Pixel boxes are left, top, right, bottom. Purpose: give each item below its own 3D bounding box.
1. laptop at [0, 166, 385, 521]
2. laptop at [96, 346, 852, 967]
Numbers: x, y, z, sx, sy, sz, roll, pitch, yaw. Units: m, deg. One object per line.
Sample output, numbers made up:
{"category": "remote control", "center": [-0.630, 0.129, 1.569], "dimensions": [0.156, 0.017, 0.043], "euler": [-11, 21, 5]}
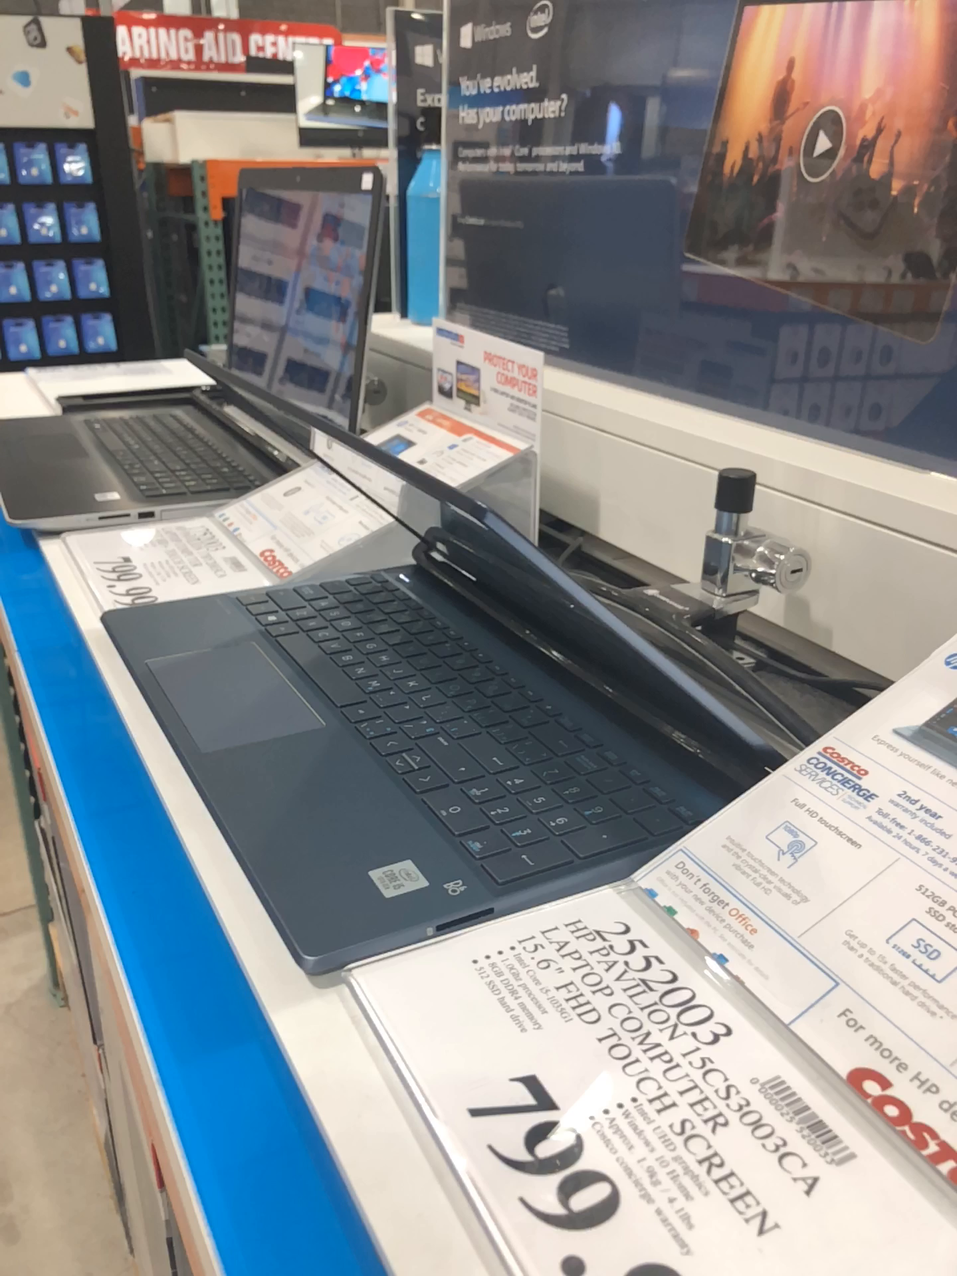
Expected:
{"category": "laptop", "center": [-0.277, -0.283, 0.917], "dimensions": [0.287, 0.227, 0.344], "euler": [-13, 27, -27]}
{"category": "laptop", "center": [-0.035, -0.038, 0.518], "dimensions": [0.217, 0.149, 0.348], "euler": [-11, 25, -26]}
